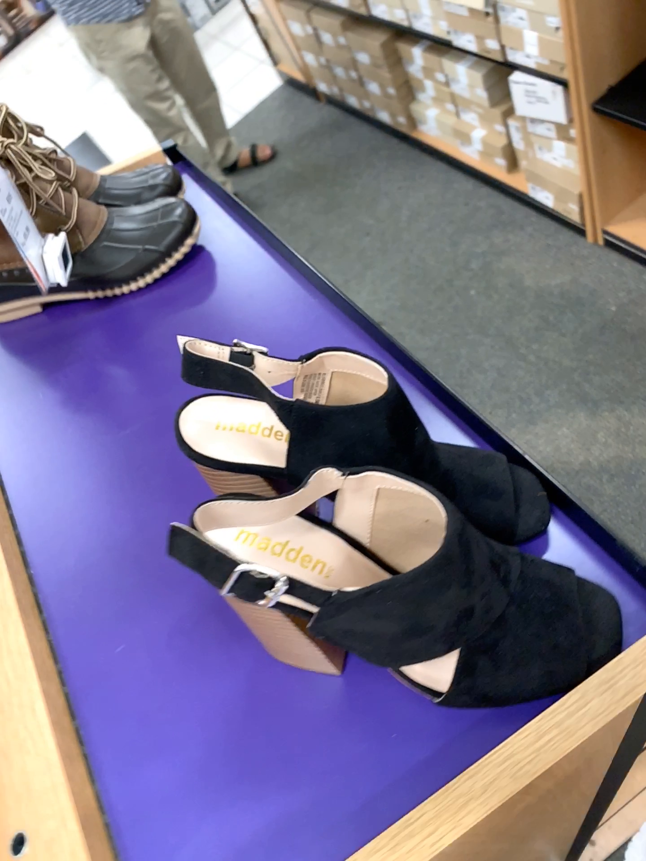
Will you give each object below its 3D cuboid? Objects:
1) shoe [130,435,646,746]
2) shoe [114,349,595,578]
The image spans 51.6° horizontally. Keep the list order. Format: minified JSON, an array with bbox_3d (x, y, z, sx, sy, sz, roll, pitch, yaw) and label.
[{"bbox_3d":[0.045,0.083,0.314,0.220,0.140,0.080,7,62,5],"label":"shoe"},{"bbox_3d":[0.018,0.023,0.372,0.220,0.110,0.080,0,60,8],"label":"shoe"}]
